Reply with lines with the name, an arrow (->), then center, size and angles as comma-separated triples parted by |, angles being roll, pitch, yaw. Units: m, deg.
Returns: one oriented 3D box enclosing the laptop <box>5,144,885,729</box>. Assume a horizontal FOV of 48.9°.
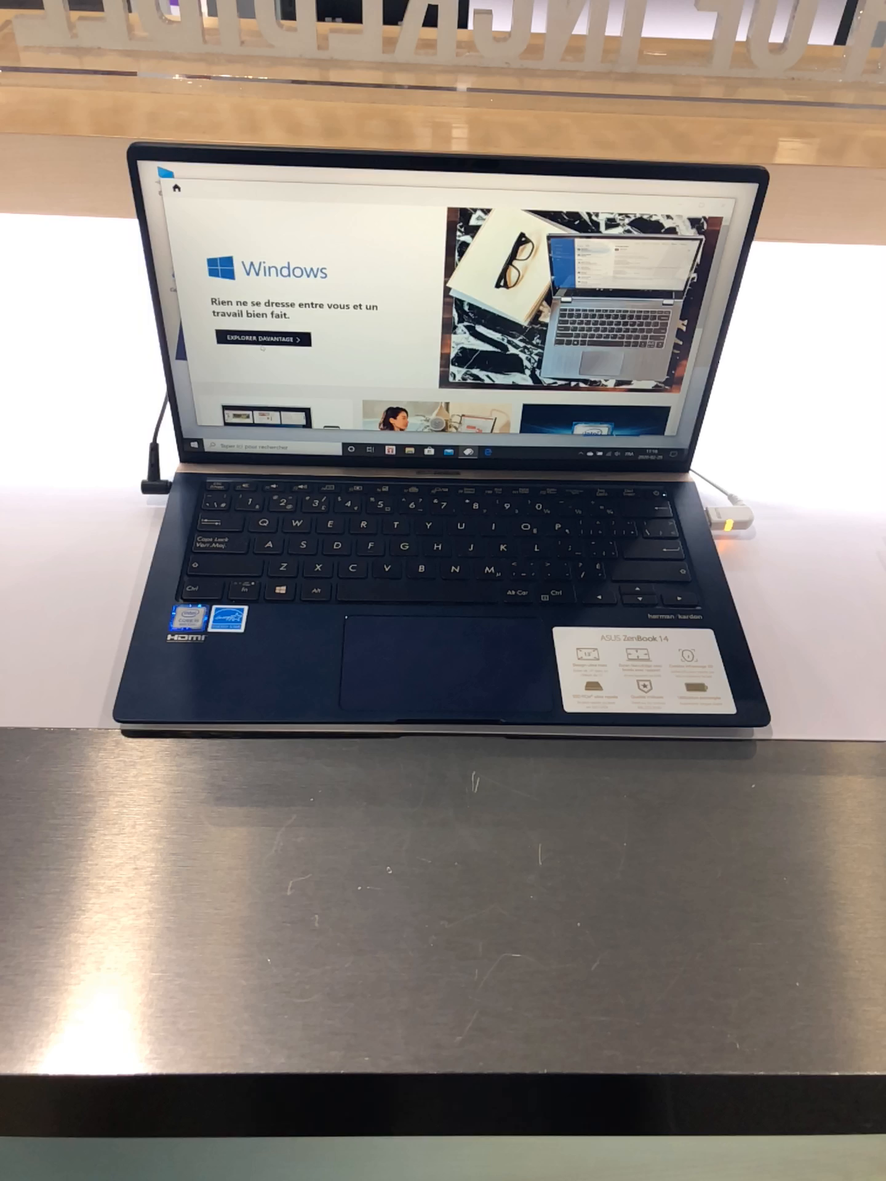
laptop -> 0.005, -0.069, 0.449 | 0.301, 0.182, 0.192 | 1, 44, -4
